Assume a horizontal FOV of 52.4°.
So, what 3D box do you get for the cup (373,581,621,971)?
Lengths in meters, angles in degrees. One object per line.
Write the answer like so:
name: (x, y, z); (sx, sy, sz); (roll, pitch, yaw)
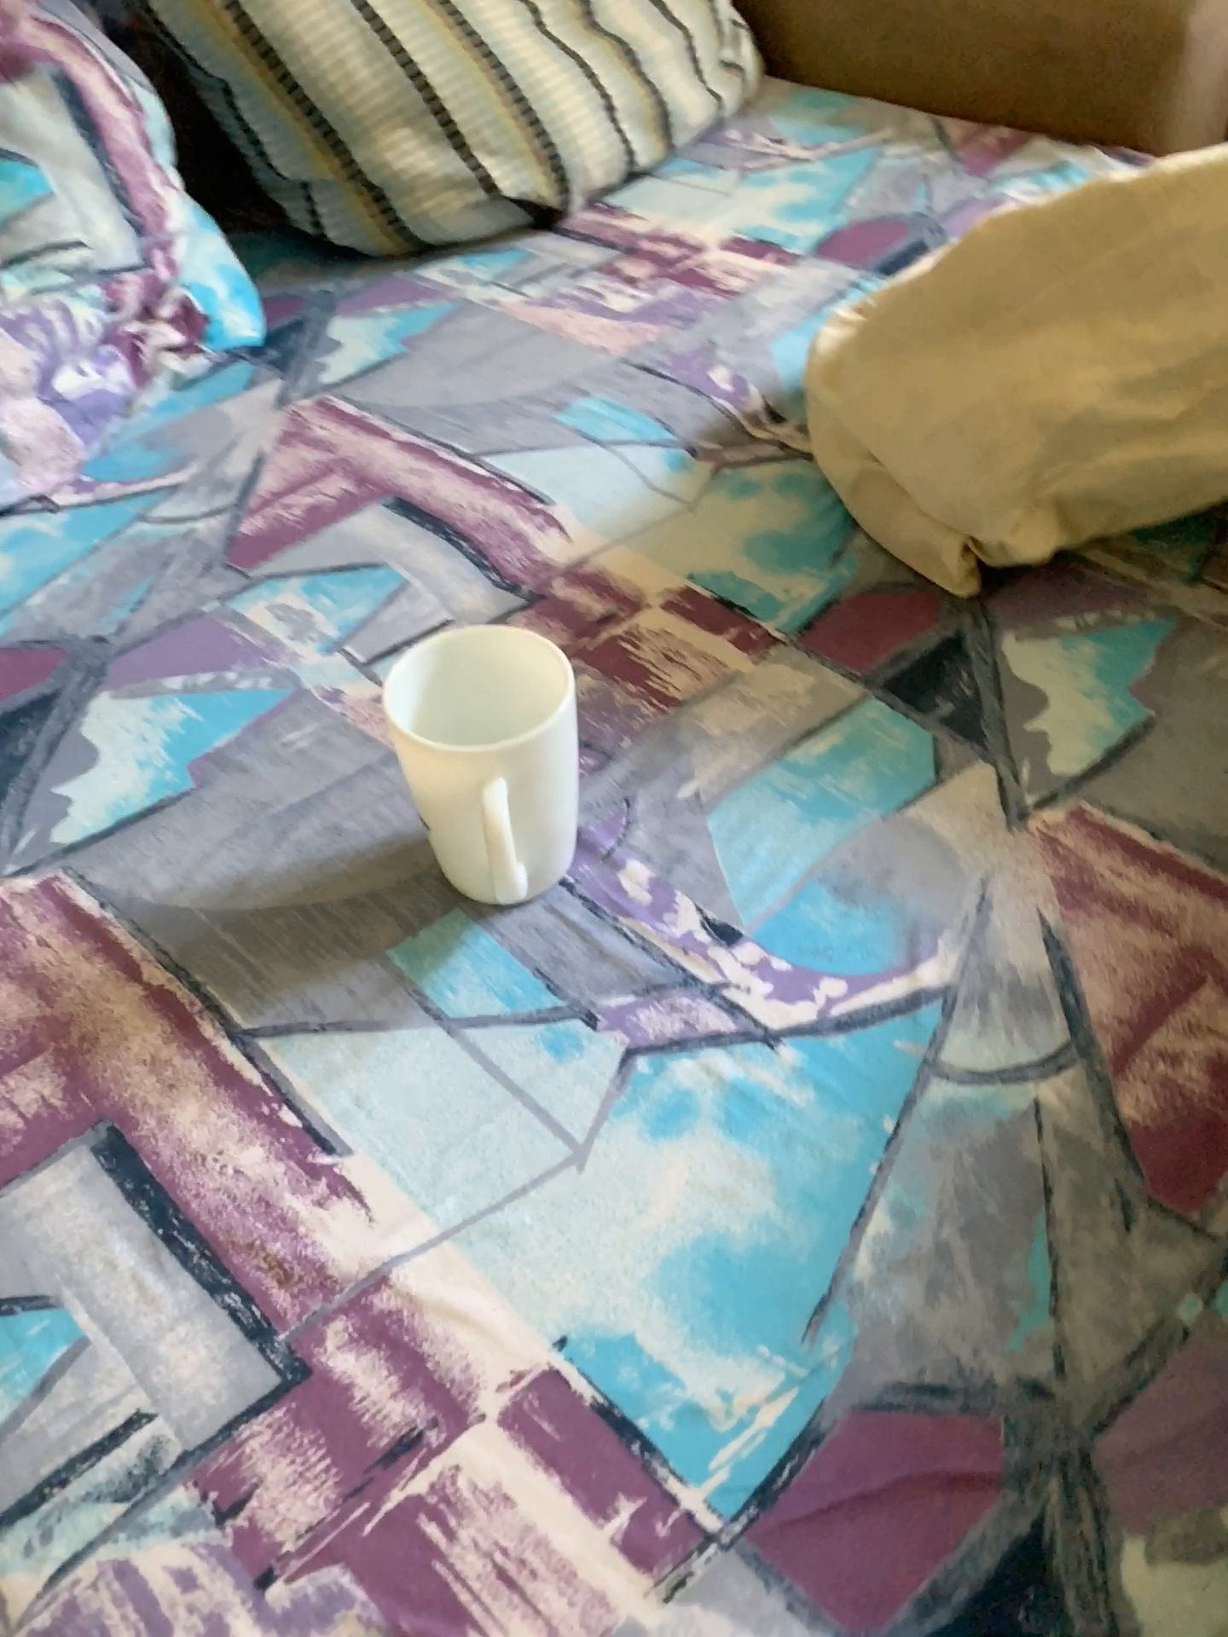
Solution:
cup: (-0.047, -0.019, 0.529); (0.080, 0.099, 0.121); (-8, 46, 1)
